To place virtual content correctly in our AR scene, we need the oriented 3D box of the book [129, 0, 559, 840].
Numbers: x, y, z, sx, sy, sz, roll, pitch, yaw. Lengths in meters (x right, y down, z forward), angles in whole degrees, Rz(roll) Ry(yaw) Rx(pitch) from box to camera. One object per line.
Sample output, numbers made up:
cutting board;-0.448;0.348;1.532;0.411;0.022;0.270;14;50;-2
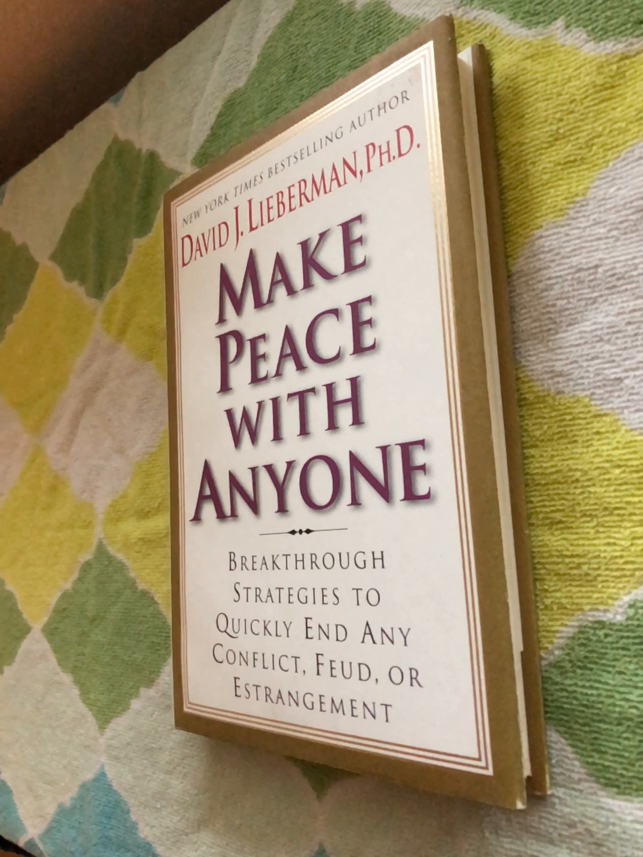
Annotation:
book;-0.009;-0.001;0.230;0.146;0.030;0.204;-12;76;43
